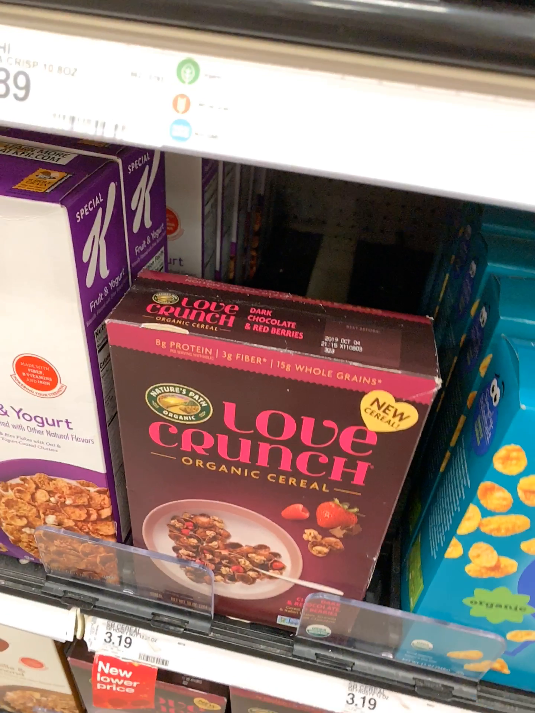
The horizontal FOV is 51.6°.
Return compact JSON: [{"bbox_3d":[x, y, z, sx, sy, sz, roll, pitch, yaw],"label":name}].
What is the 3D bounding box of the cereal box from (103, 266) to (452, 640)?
[{"bbox_3d":[-0.003,0.078,0.347,0.160,0.249,0.050,10,39,5],"label":"cereal box"}]
